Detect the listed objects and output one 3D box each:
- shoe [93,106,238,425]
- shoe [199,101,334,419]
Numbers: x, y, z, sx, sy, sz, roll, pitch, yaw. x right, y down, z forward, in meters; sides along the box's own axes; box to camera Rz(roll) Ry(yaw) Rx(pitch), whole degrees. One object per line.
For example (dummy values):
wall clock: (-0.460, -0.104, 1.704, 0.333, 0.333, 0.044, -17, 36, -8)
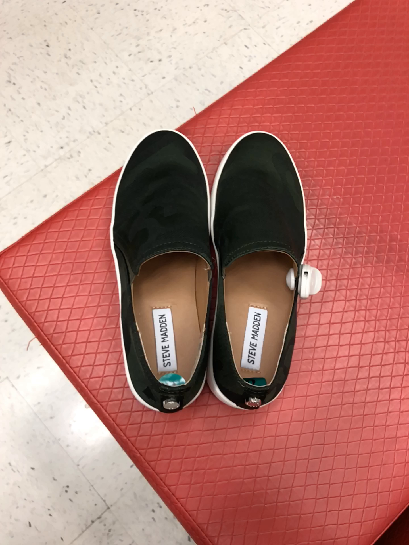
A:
shoe: (-0.037, -0.006, 0.383, 0.091, 0.090, 0.243, -4, 75, -6)
shoe: (0.048, -0.008, 0.391, 0.088, 0.090, 0.249, 4, 74, -3)
